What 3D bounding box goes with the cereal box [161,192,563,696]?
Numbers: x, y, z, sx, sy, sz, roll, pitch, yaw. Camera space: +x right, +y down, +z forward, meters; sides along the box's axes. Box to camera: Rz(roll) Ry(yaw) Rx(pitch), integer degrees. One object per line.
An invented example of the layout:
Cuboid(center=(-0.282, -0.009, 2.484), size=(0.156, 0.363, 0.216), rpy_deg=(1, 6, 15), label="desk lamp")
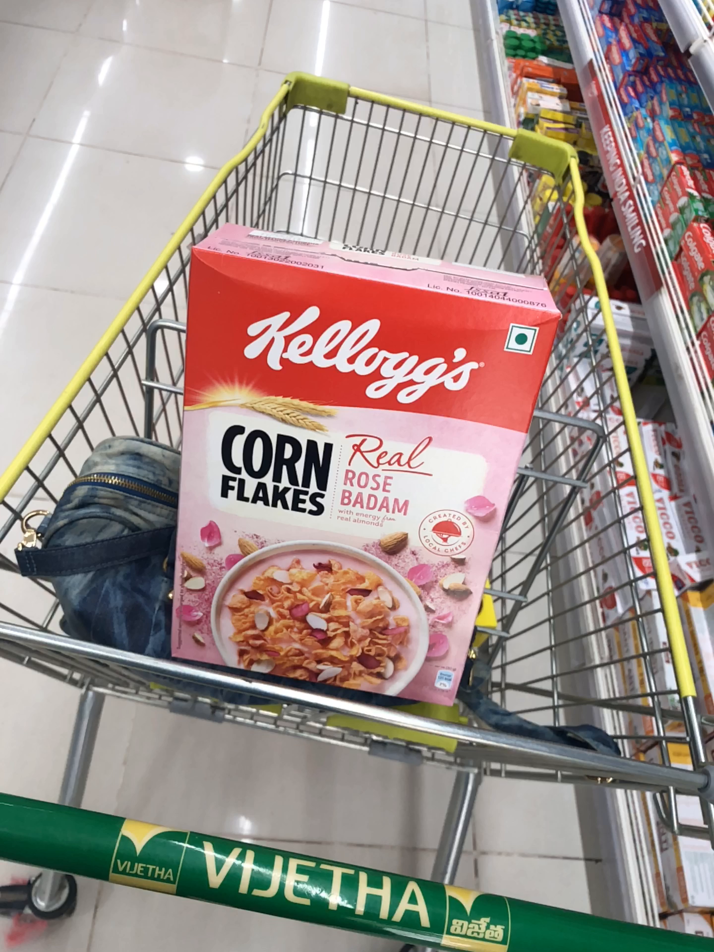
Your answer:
Cuboid(center=(-0.013, -0.004, 0.479), size=(0.190, 0.279, 0.070), rpy_deg=(10, 33, 0), label="cereal box")
